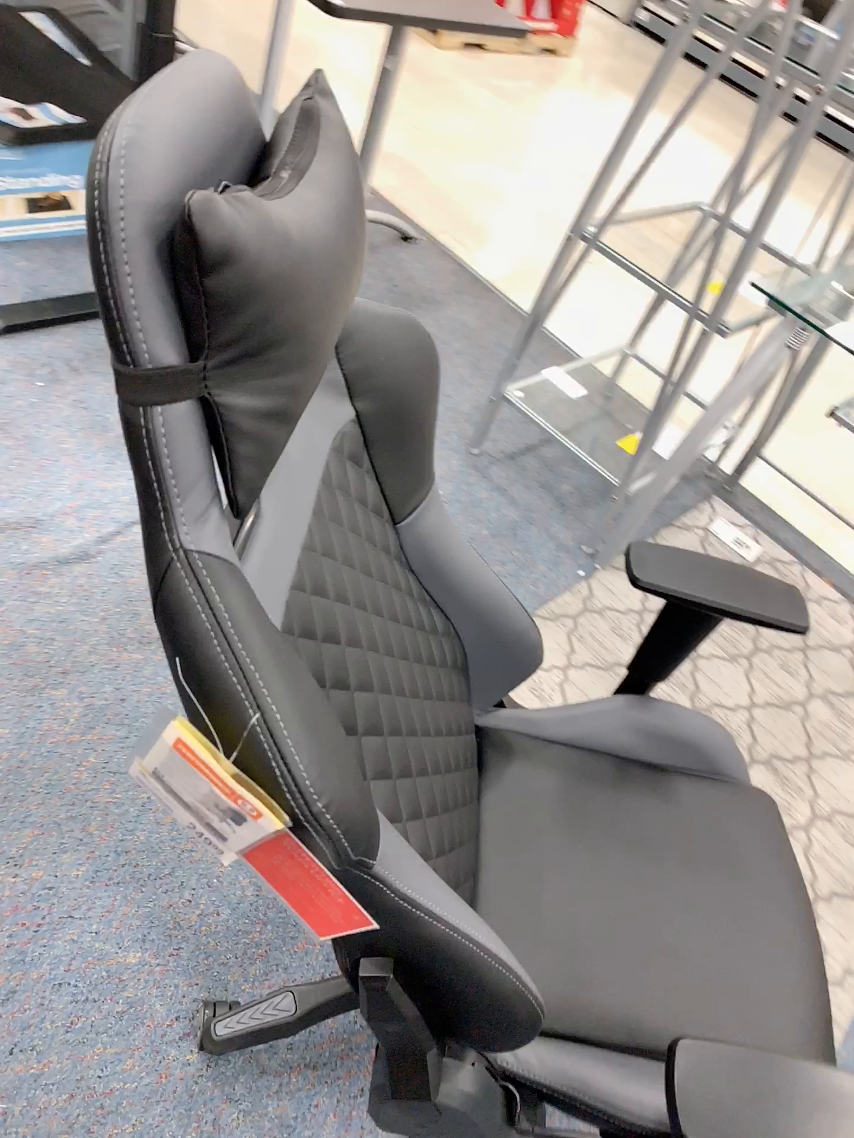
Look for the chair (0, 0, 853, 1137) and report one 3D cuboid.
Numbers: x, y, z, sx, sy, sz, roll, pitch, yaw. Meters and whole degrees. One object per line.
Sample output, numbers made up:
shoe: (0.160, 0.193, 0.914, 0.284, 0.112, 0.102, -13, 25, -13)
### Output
chair: (0.118, 0.181, 0.884, 0.911, 1.062, 0.789, 16, 43, -9)
